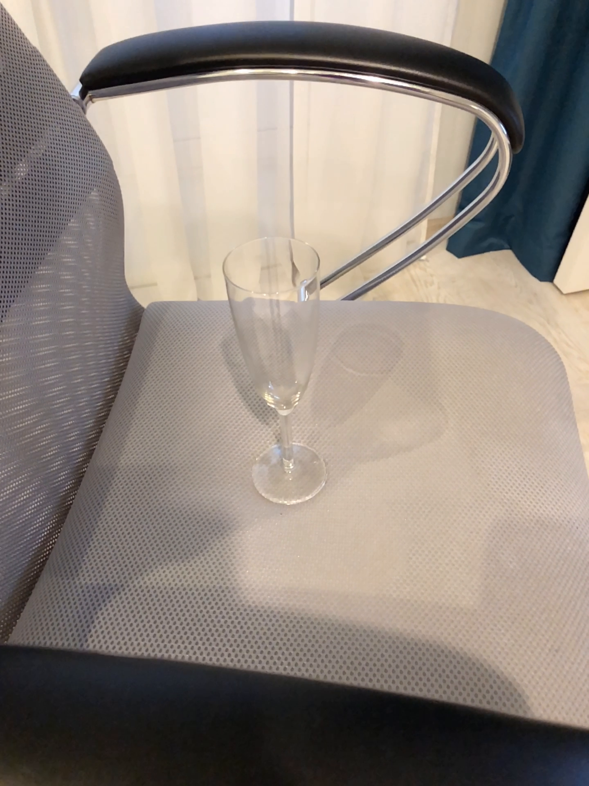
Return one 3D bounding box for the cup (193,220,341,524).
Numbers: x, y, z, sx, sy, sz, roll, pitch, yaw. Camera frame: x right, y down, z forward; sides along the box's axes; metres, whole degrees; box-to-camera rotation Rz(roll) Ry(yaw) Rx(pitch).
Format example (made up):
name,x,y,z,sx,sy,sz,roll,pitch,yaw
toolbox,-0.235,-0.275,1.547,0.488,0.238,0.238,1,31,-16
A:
name,x,y,z,sx,sy,sz,roll,pitch,yaw
cup,-0.012,-0.004,0.482,0.074,0.228,0.075,-1,46,1
